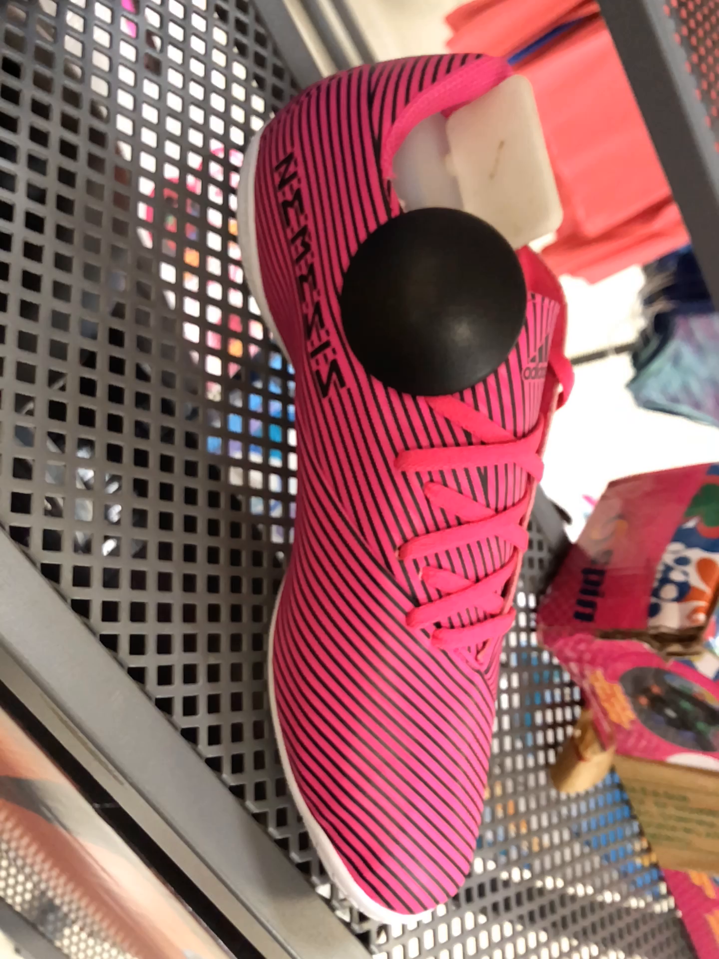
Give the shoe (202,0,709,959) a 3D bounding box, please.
[{"bbox_3d":[0.024,0.006,0.254,0.096,0.099,0.260,4,79,-45],"label":"shoe"}]
